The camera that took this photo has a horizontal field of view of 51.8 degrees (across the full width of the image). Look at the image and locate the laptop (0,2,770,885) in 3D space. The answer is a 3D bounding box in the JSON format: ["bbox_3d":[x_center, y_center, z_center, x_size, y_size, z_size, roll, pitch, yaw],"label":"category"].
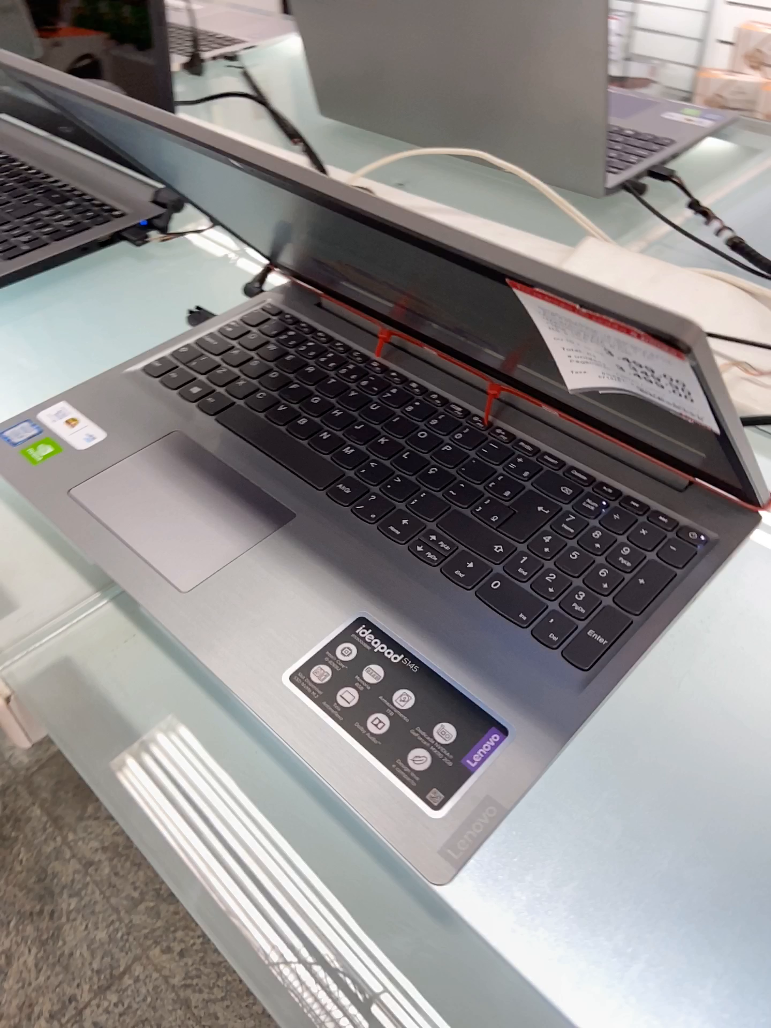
[{"bbox_3d":[-0.030,-0.086,0.369,0.360,0.175,0.245,33,55,31],"label":"laptop"}]
